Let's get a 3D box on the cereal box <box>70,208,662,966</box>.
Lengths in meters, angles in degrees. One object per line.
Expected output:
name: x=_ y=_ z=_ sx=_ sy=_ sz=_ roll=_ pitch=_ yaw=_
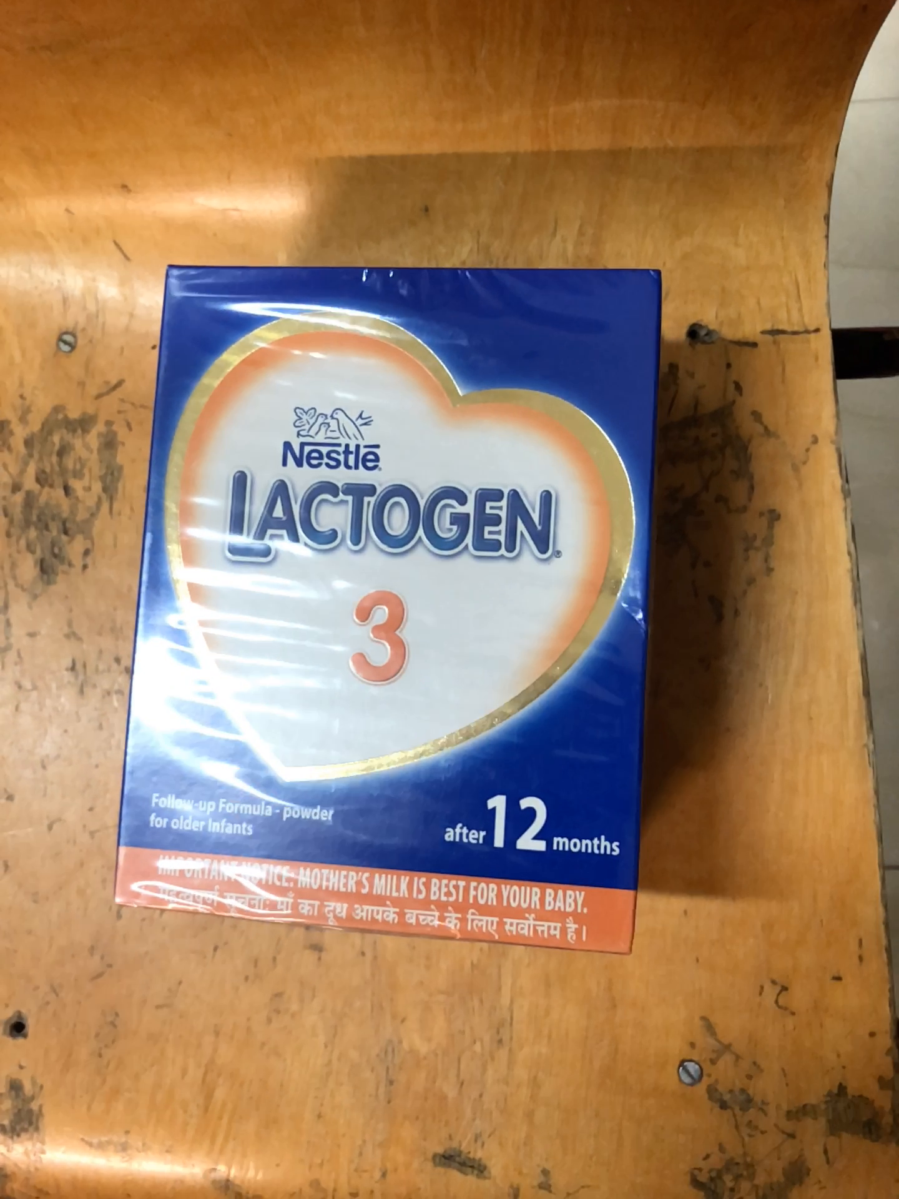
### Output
cereal box: x=-0.020 y=-0.007 z=0.303 sx=0.150 sy=0.060 sz=0.200 roll=3 pitch=85 yaw=7
